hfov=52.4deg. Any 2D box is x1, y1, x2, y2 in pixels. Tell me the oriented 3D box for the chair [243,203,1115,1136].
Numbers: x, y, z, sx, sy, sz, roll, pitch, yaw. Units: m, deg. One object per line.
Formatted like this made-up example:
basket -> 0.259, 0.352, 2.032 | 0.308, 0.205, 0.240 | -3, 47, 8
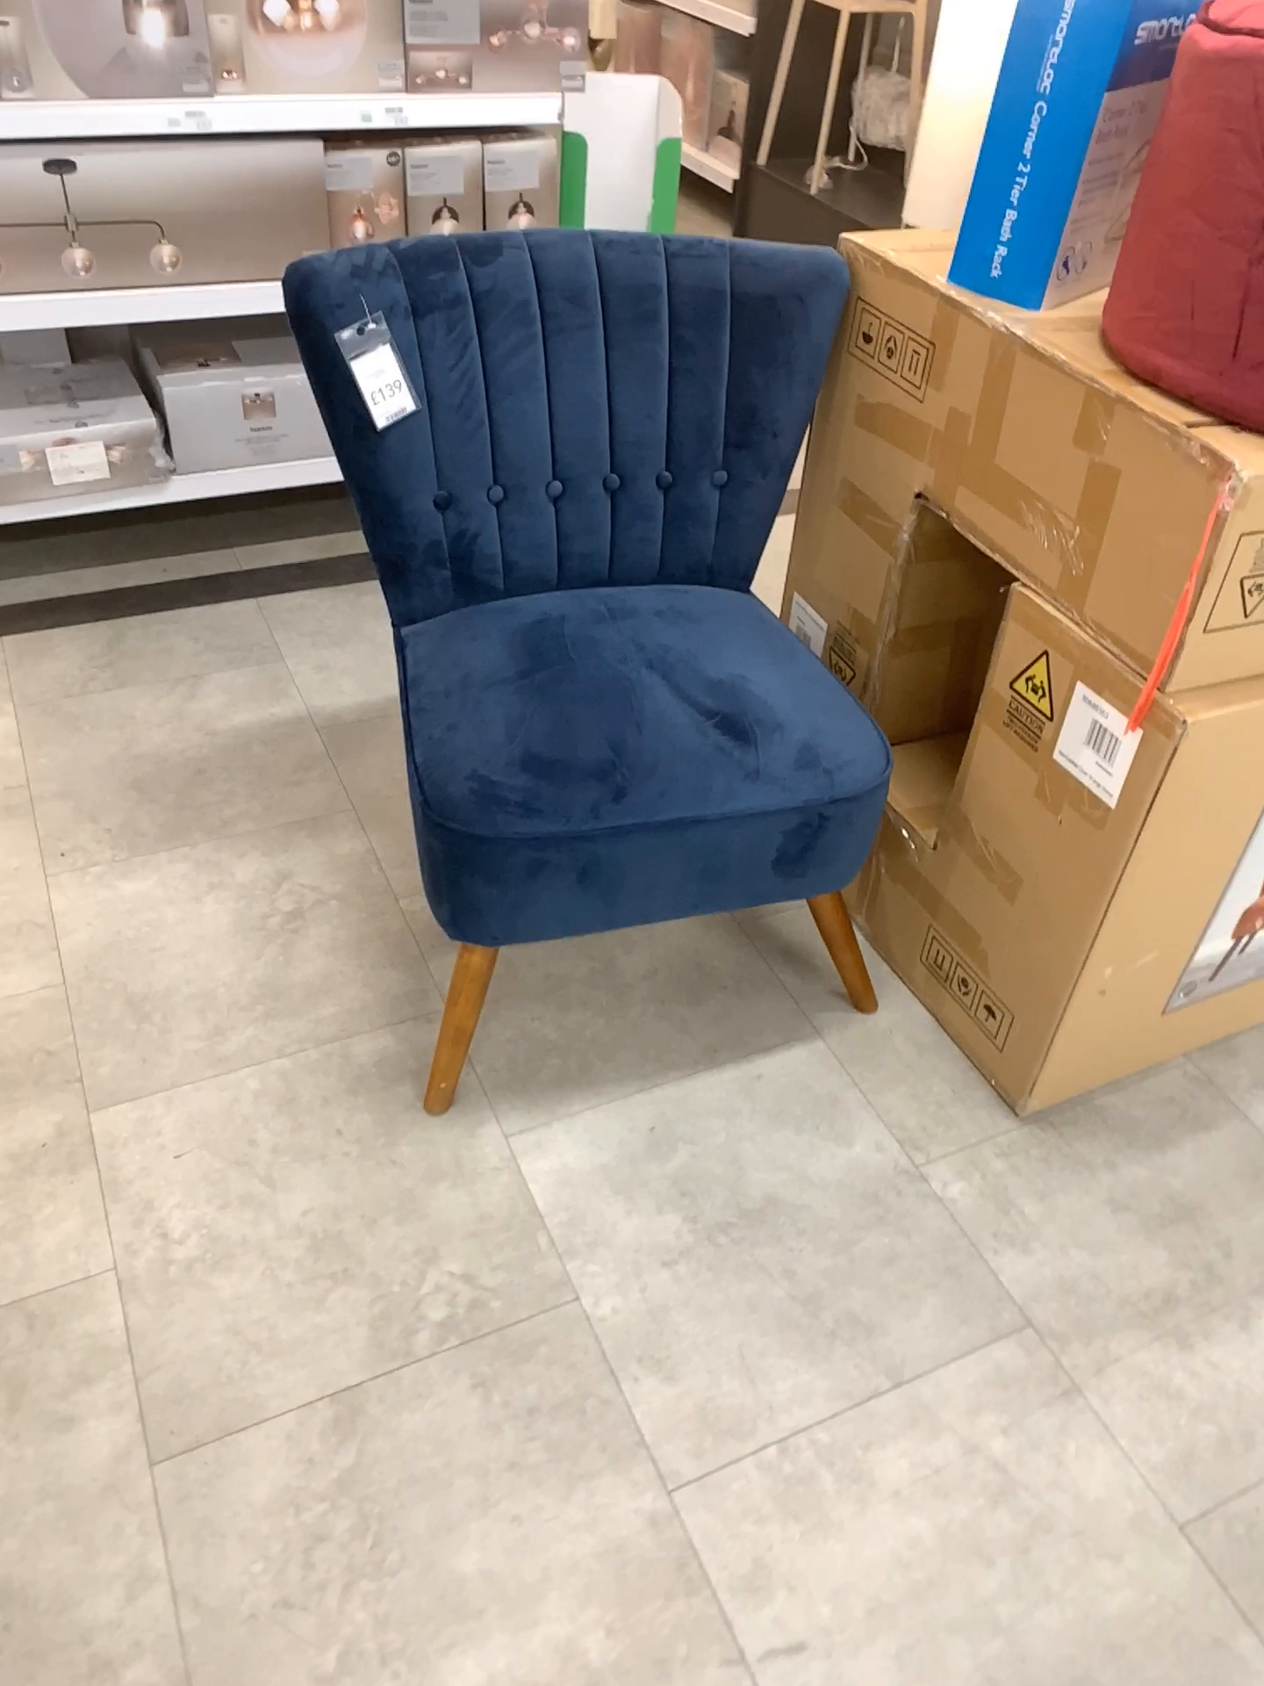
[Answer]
chair -> -0.031, -0.252, 1.581 | 0.691, 0.792, 0.726 | -10, 42, -18
